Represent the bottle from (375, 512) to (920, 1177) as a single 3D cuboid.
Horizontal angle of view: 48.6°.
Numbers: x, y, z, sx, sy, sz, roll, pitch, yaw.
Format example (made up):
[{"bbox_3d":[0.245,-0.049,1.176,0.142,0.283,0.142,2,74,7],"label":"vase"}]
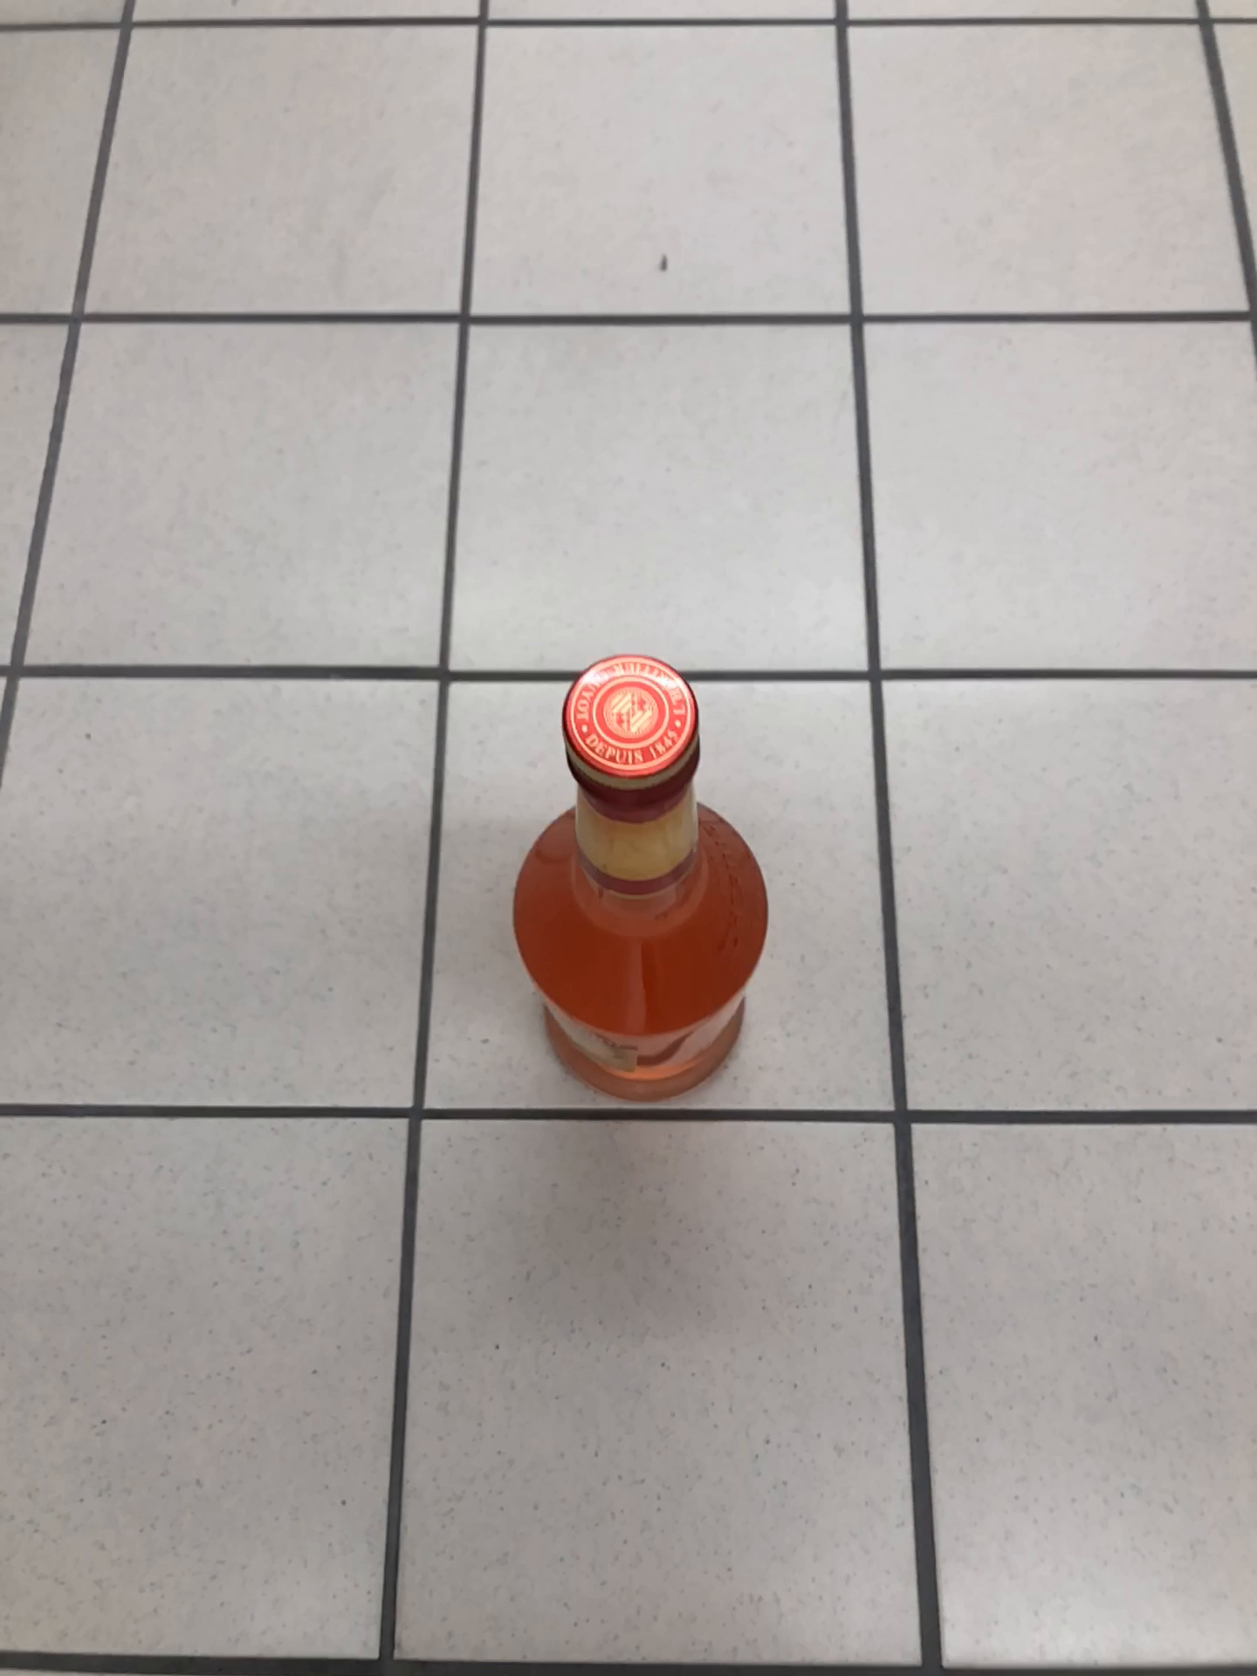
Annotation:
[{"bbox_3d":[0.006,0.031,0.463,0.090,0.299,0.090,0,70,1],"label":"bottle"}]
